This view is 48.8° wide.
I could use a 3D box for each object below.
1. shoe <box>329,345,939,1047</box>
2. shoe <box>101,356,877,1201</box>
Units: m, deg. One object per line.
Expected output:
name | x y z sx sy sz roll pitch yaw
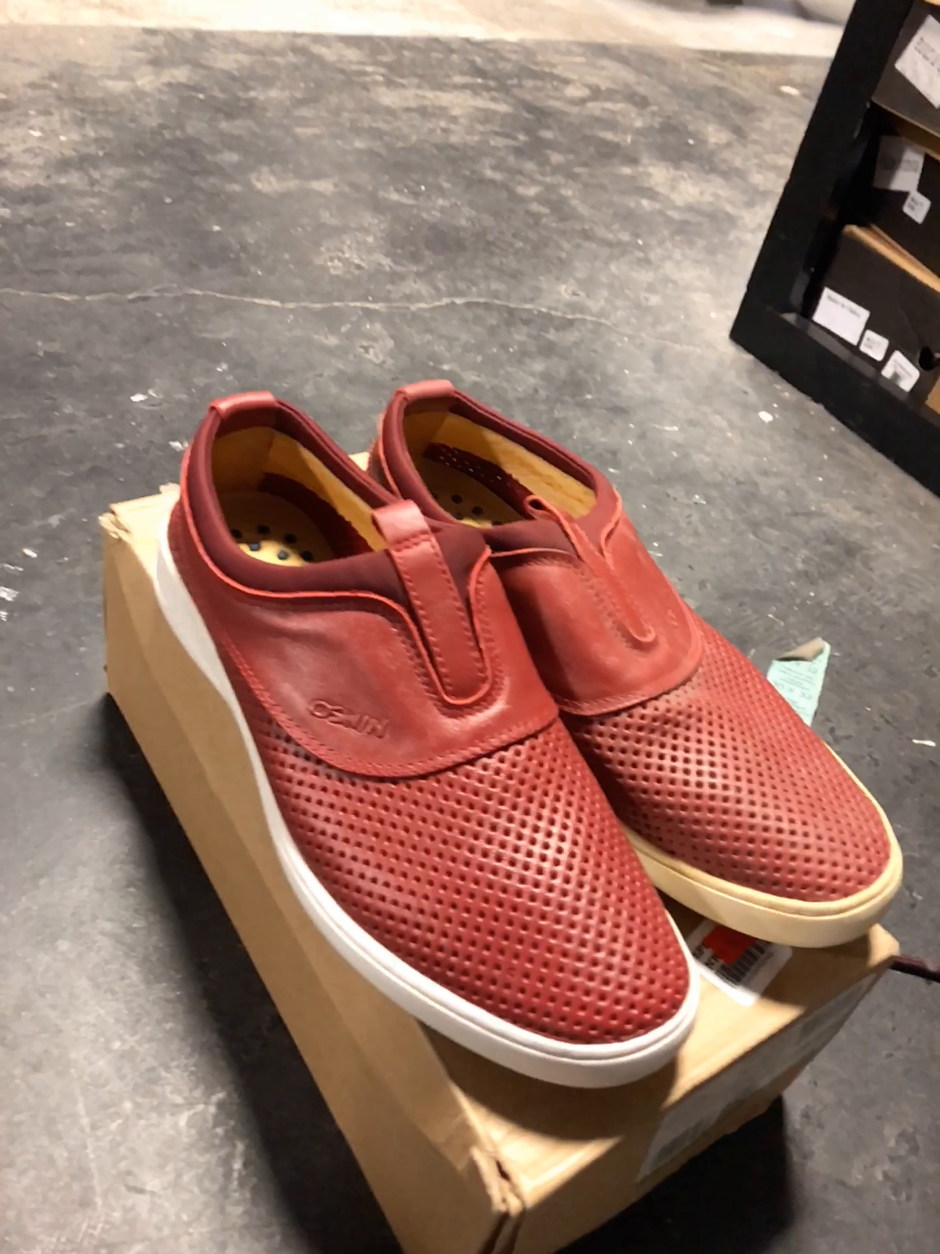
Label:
shoe | 0.060 0.004 0.383 0.100 0.089 0.251 -19 52 -33
shoe | -0.018 0.022 0.331 0.100 0.089 0.251 -19 52 -33
